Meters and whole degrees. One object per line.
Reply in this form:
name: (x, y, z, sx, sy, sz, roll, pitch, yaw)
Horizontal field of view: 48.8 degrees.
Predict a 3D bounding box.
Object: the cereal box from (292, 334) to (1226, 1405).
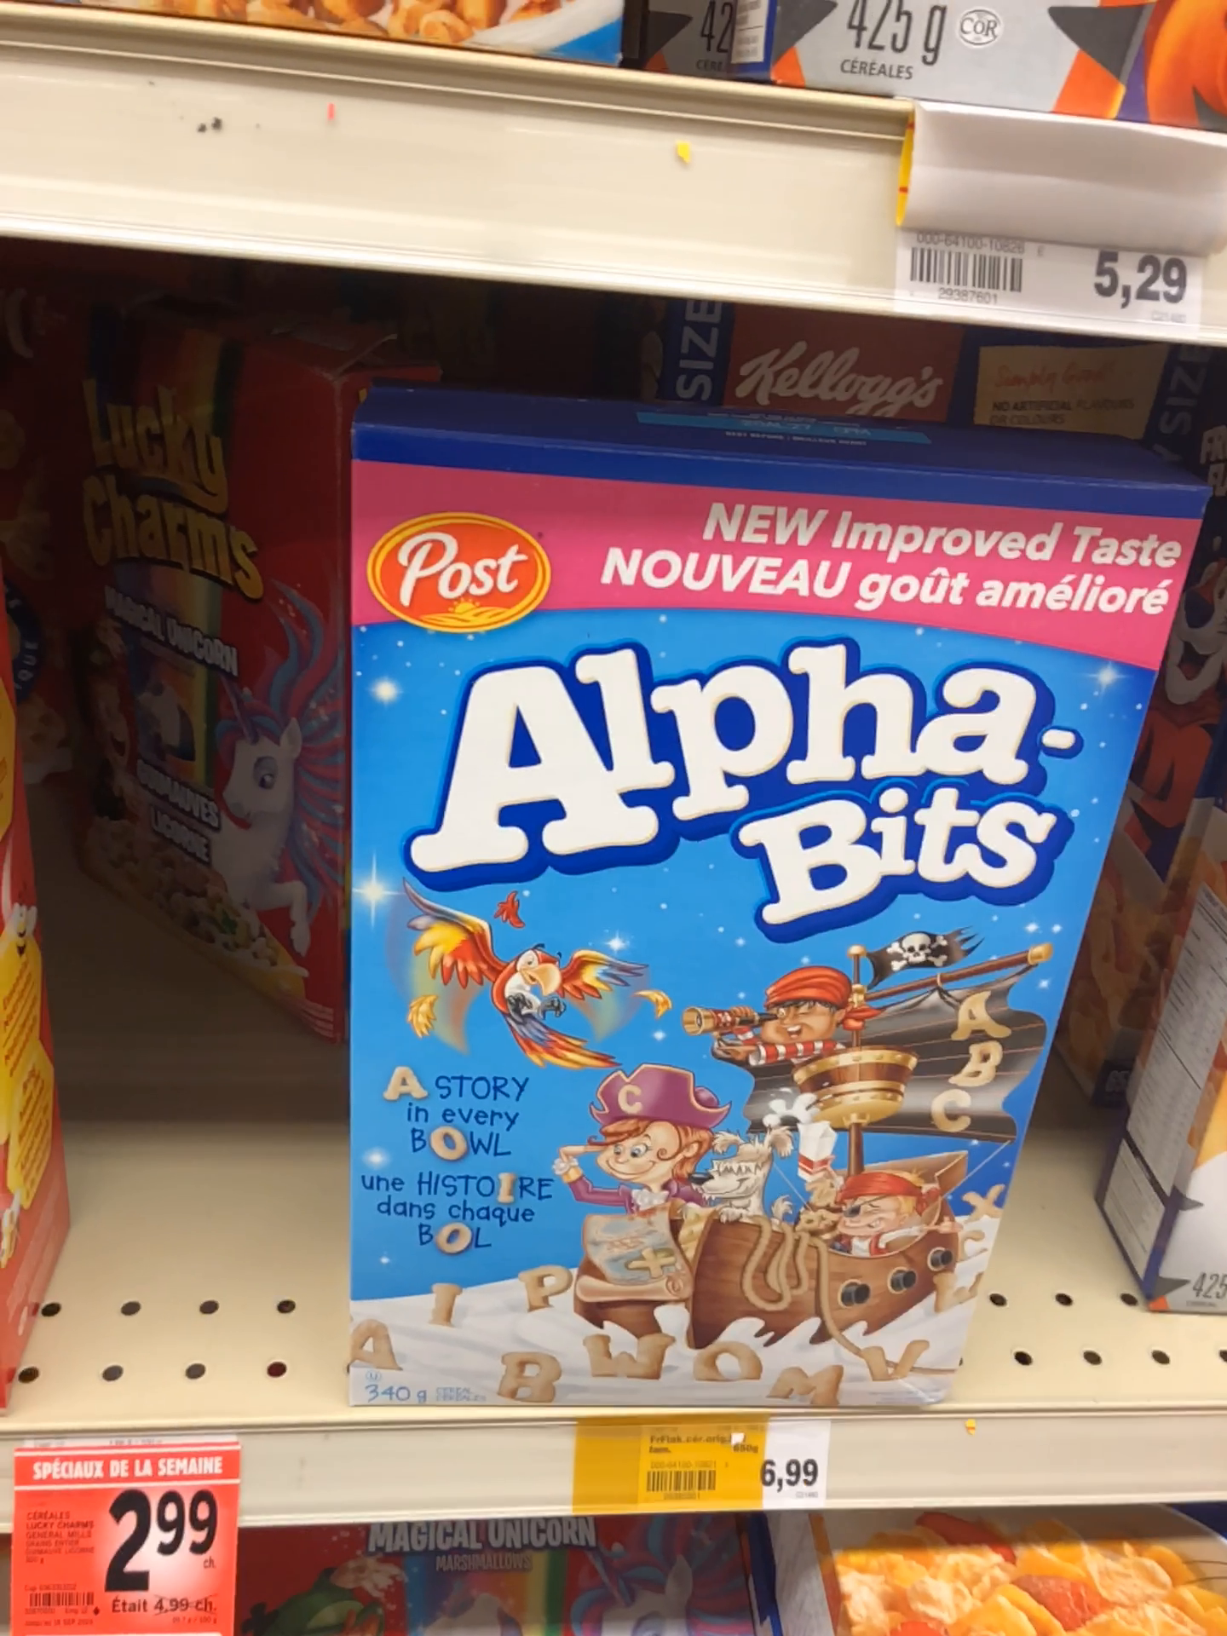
cereal box: (0.020, 0.037, 0.373, 0.200, 0.298, 0.060, 3, 29, -6)
